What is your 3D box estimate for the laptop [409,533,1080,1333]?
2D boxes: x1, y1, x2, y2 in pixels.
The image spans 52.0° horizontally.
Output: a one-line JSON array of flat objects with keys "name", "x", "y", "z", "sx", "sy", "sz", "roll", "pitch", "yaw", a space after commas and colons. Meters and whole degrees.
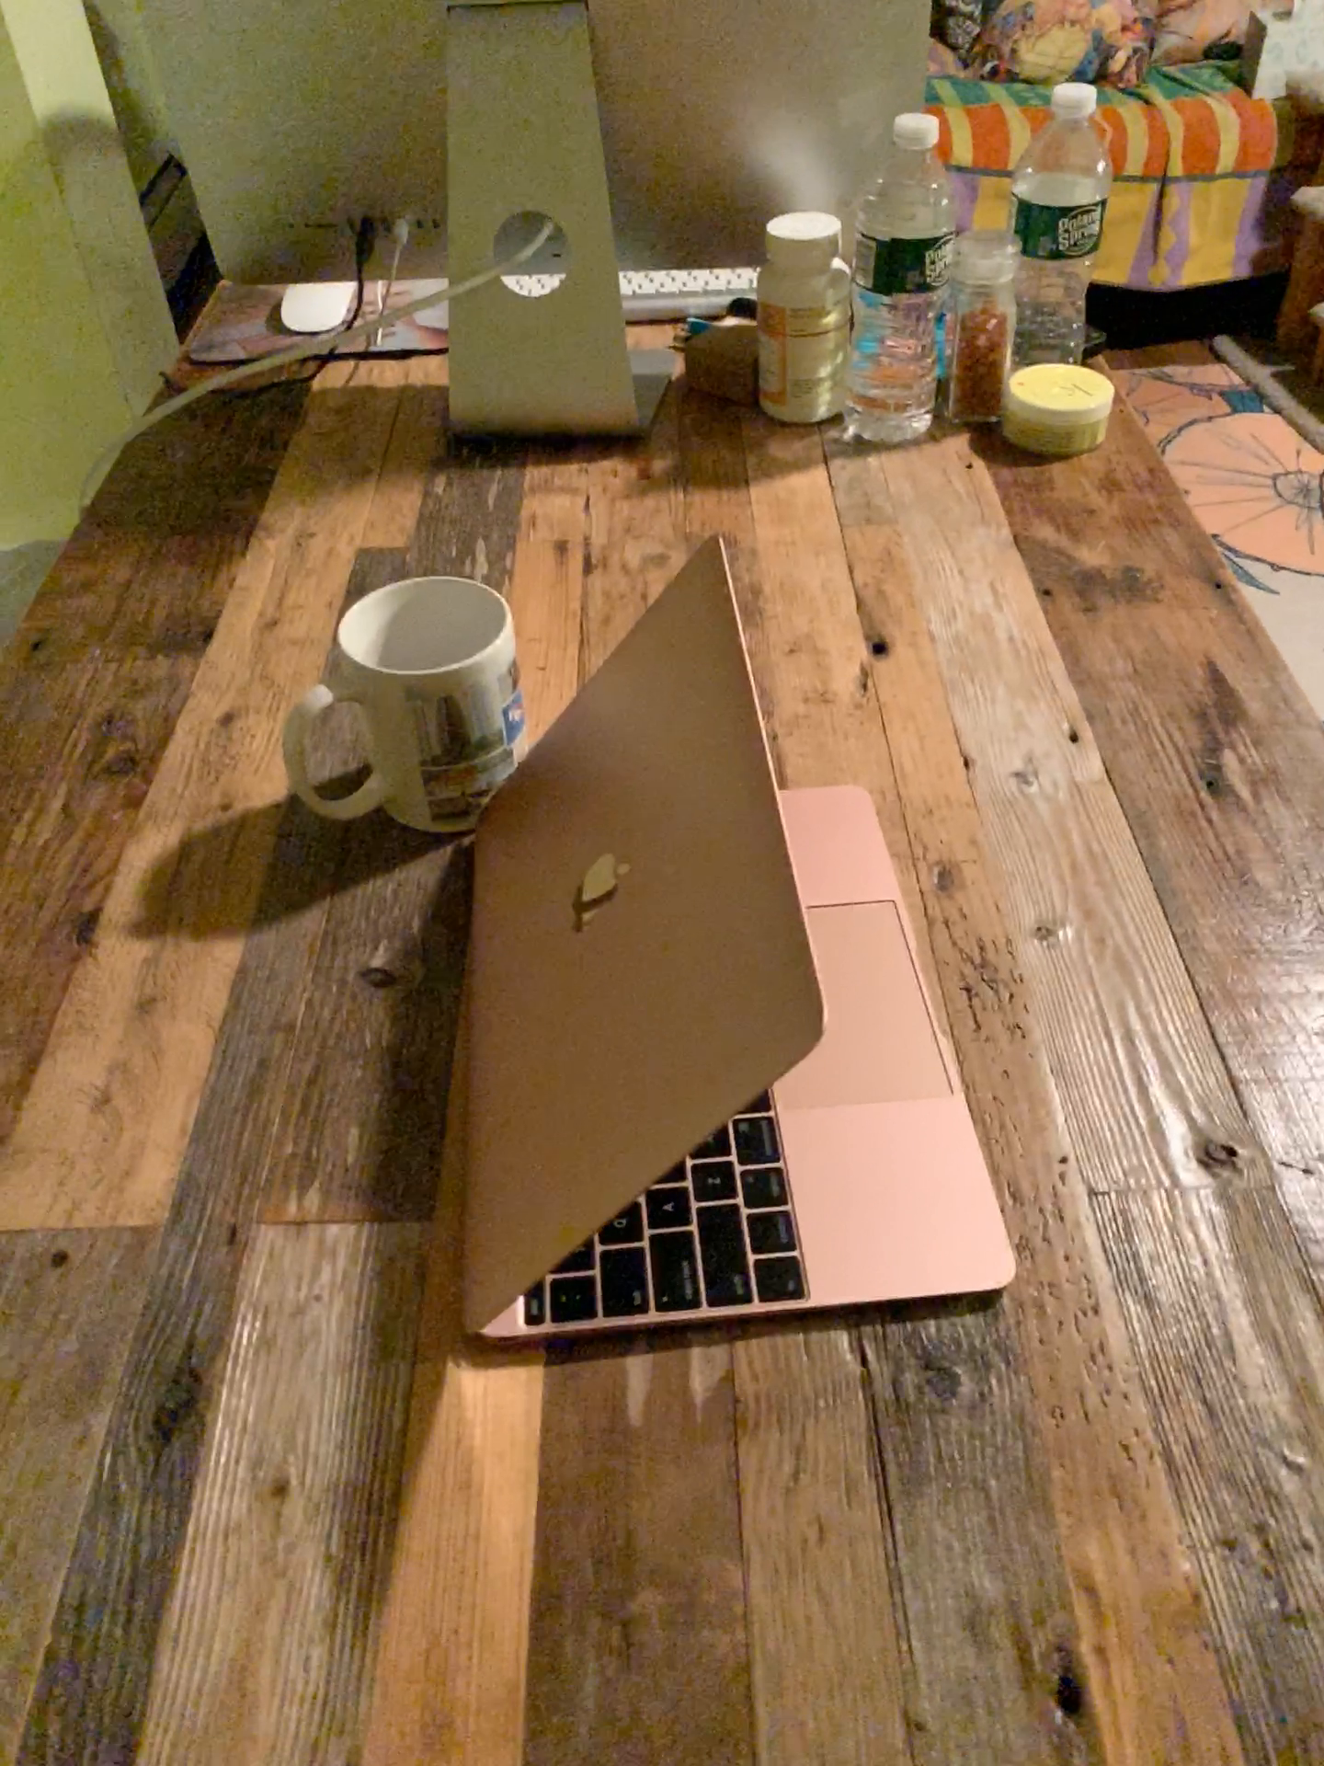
[{"name": "laptop", "x": 0.017, "y": 0.002, "z": 0.538, "sx": 0.193, "sy": 0.145, "sz": 0.280, "roll": -4, "pitch": 43, "yaw": -3}]
